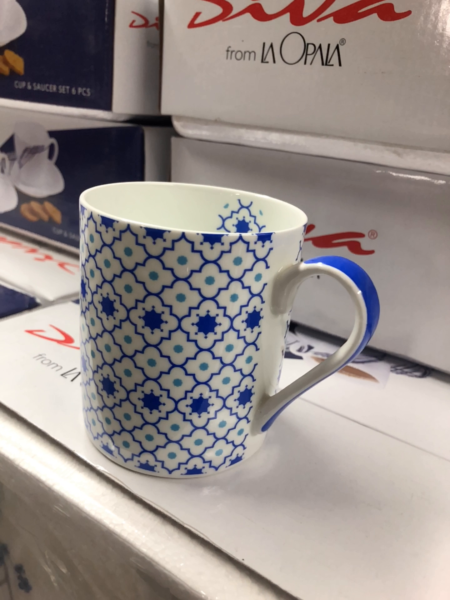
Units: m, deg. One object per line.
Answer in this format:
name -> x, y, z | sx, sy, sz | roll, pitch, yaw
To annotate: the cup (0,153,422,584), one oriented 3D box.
cup -> -0.008, 0.006, 0.154 | 0.100, 0.080, 0.070 | 18, 26, 28
